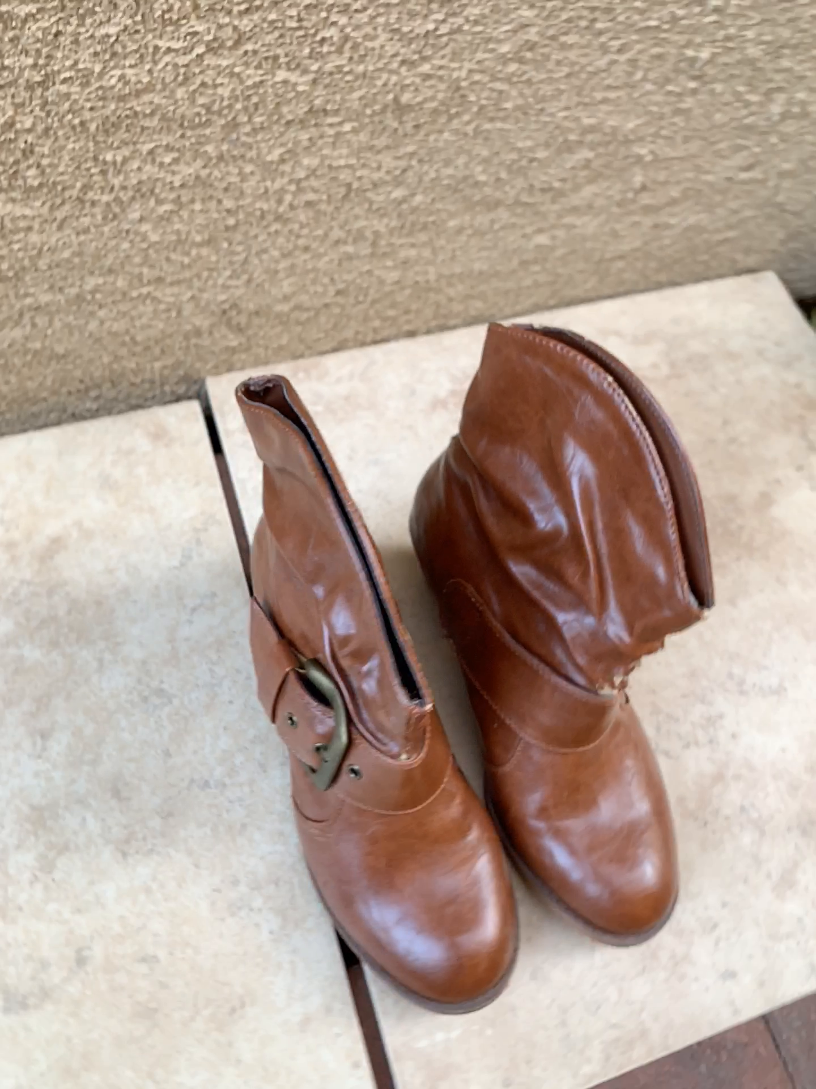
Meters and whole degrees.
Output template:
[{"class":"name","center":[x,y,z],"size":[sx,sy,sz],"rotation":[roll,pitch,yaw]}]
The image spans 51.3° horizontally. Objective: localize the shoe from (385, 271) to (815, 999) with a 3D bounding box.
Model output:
[{"class":"shoe","center":[0.085,0.049,0.380],"size":[0.100,0.199,0.245],"rotation":[-16,66,-14]}]

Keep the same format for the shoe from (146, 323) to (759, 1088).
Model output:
[{"class":"shoe","center":[-0.008,0.078,0.353],"size":[0.095,0.199,0.245],"rotation":[-20,67,-16]}]
